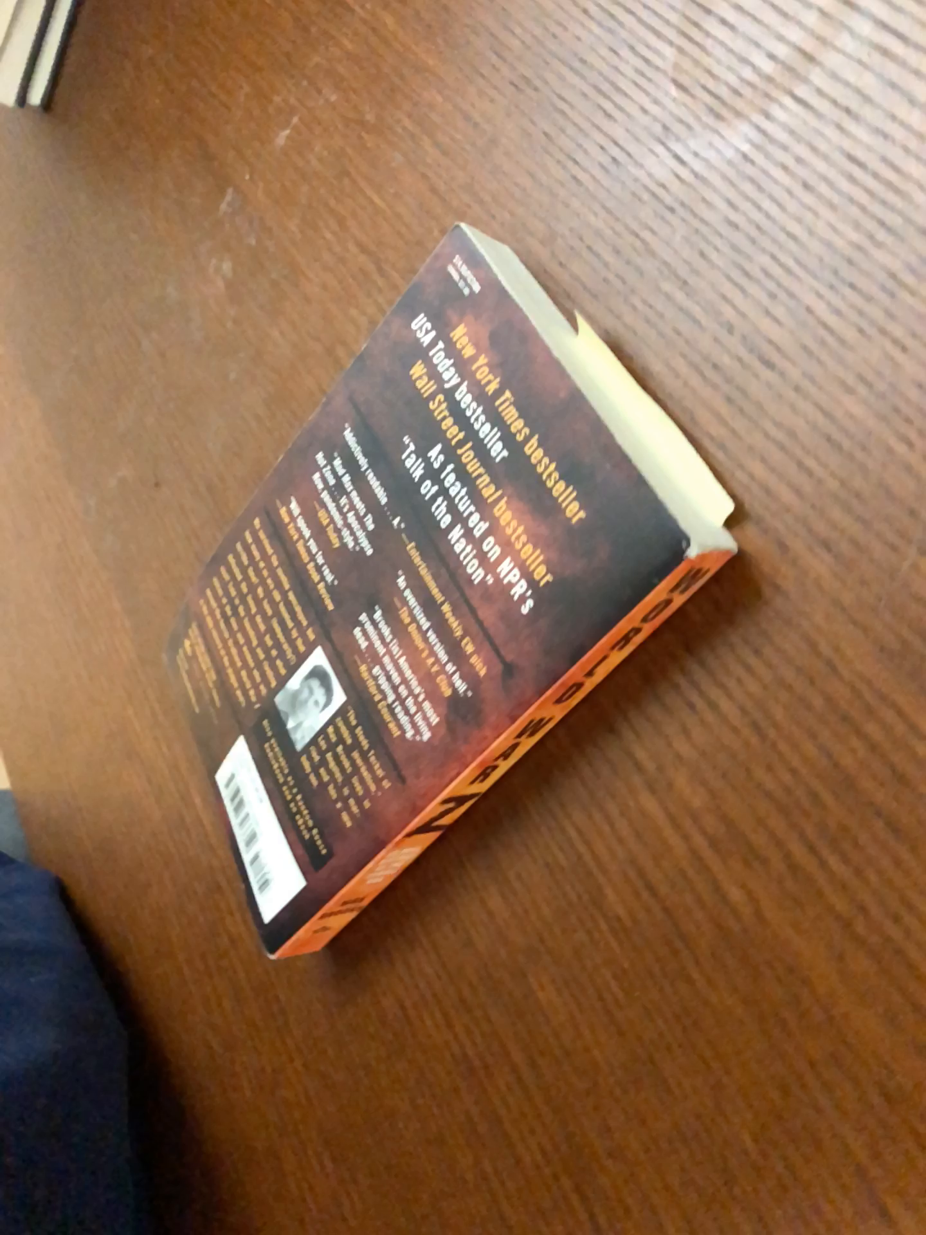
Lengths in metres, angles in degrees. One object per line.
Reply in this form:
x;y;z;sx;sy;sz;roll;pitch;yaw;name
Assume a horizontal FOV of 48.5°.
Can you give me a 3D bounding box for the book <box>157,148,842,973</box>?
-0.015;-0.007;0.321;0.220;0.030;0.140;-47;56;31;book
